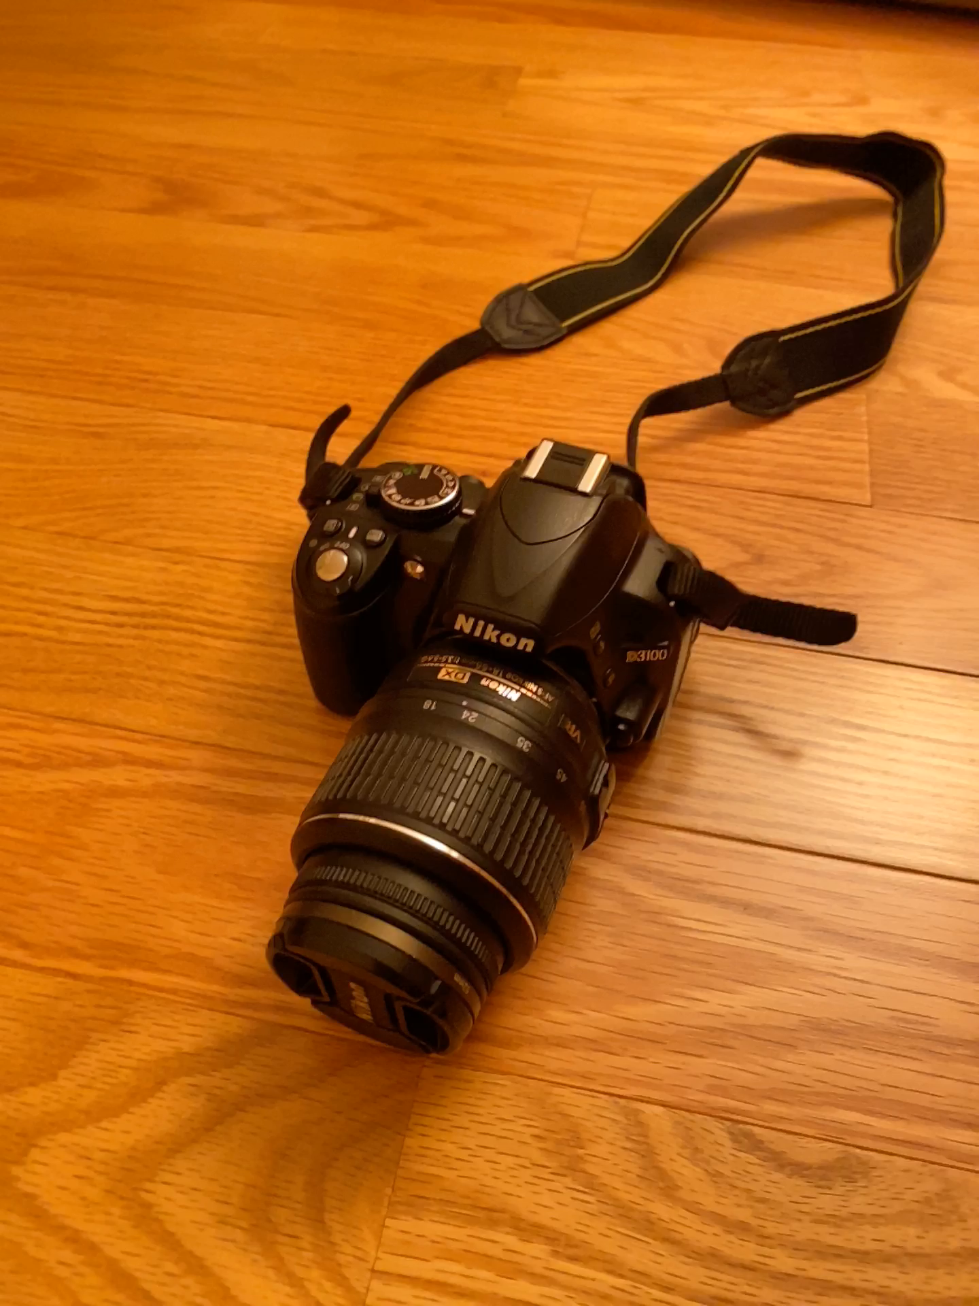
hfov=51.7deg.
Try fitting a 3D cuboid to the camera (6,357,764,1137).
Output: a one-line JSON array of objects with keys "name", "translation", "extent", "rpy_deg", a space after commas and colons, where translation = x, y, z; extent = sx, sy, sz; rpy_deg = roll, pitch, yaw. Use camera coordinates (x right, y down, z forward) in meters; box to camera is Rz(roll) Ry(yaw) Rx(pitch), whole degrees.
[{"name": "camera", "translation": [-0.012, 0.016, 0.283], "extent": [0.130, 0.099, 0.161], "rpy_deg": [15, 51, 12]}]
